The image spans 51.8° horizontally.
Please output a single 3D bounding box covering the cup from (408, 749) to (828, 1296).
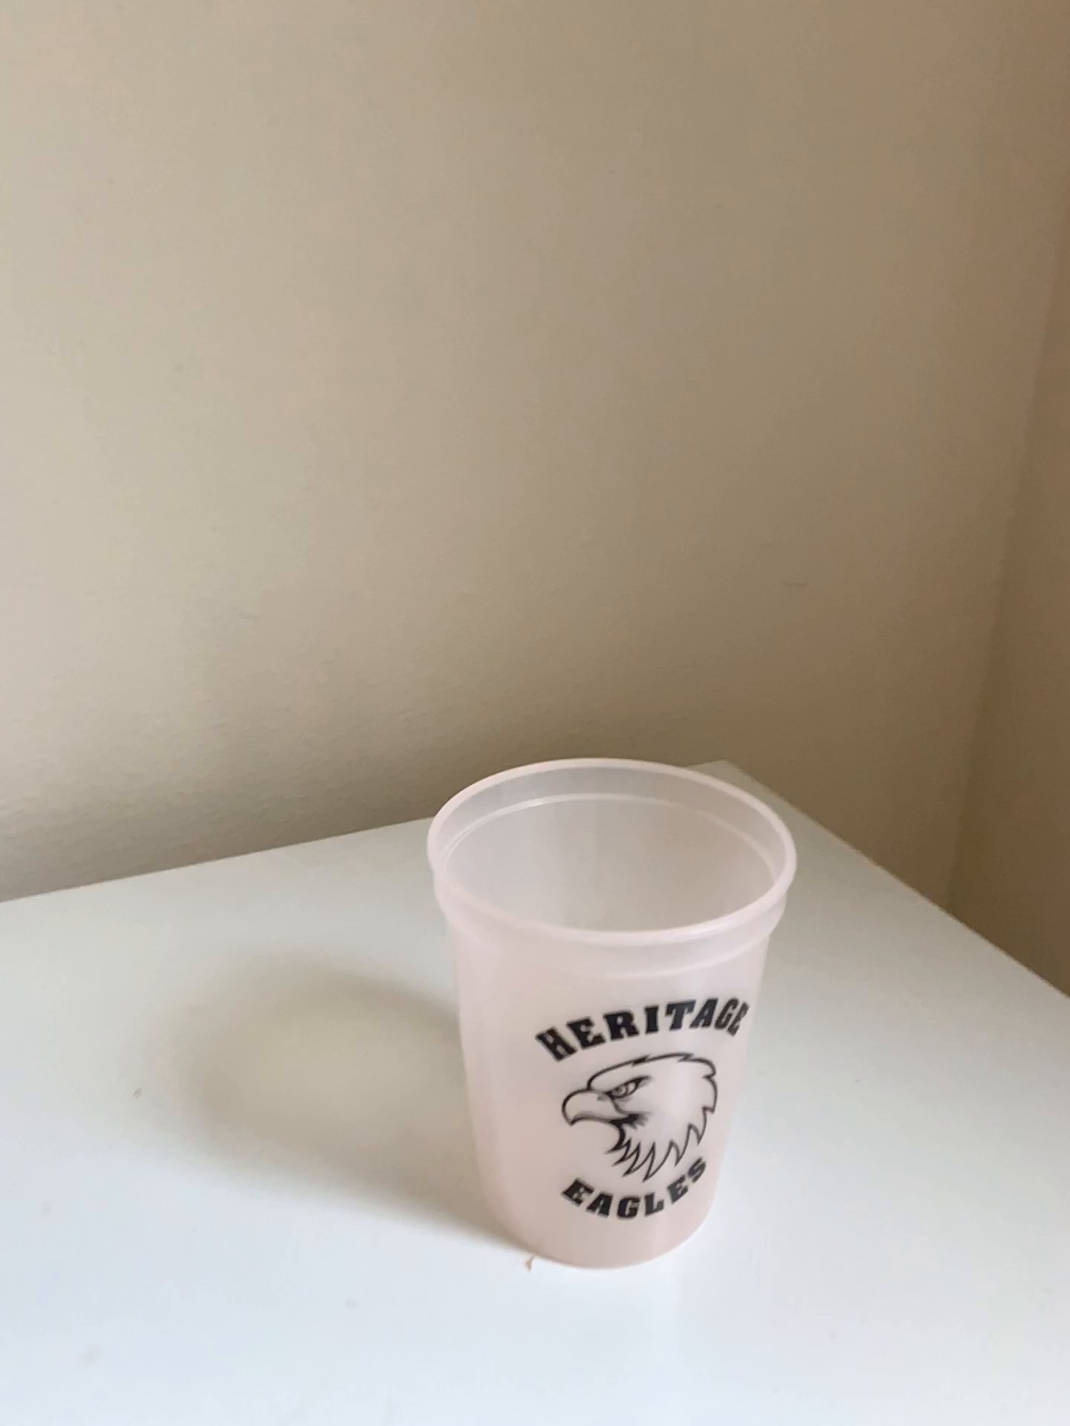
[{"bbox_3d":[0.015,0.079,0.304,0.090,0.110,0.080,-4,22,-11],"label":"cup"}]
